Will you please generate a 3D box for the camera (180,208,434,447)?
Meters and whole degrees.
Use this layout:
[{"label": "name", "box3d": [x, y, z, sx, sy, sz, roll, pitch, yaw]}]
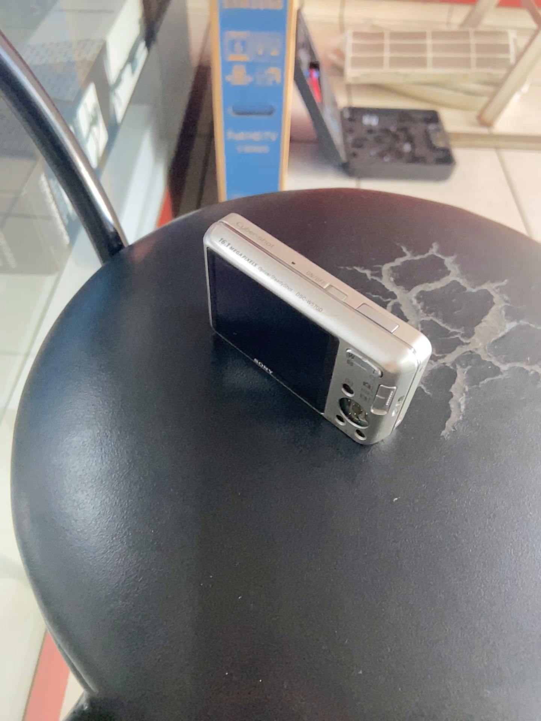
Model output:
[{"label": "camera", "box3d": [0.009, -0.014, 0.206, 0.092, 0.042, 0.022, 35, 58, 23]}]
